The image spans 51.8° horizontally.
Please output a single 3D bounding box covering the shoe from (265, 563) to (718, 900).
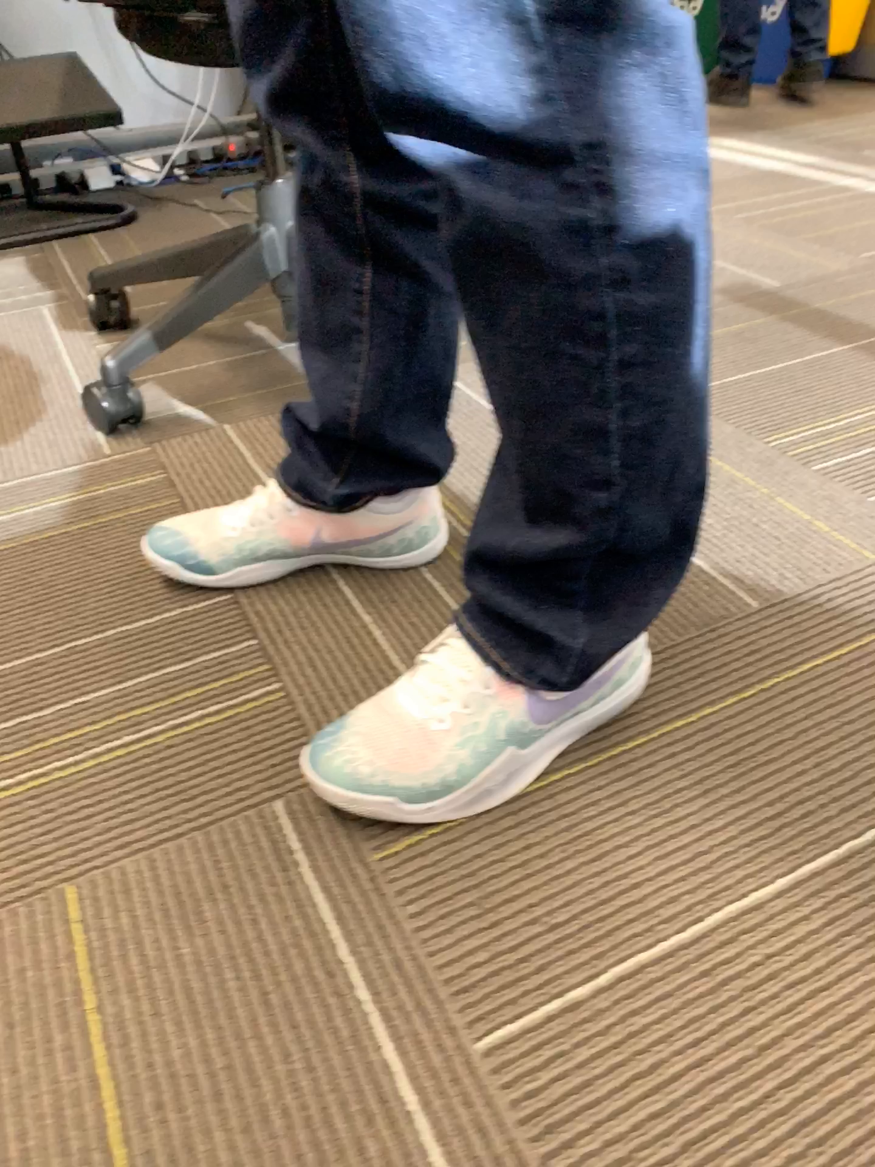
[{"bbox_3d":[0.041,0.092,0.642,0.289,0.078,0.123,-20,38,-20],"label":"shoe"}]

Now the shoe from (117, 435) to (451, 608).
[{"bbox_3d":[-0.136,-0.061,0.849,0.282,0.088,0.118,-5,36,-1],"label":"shoe"}]
